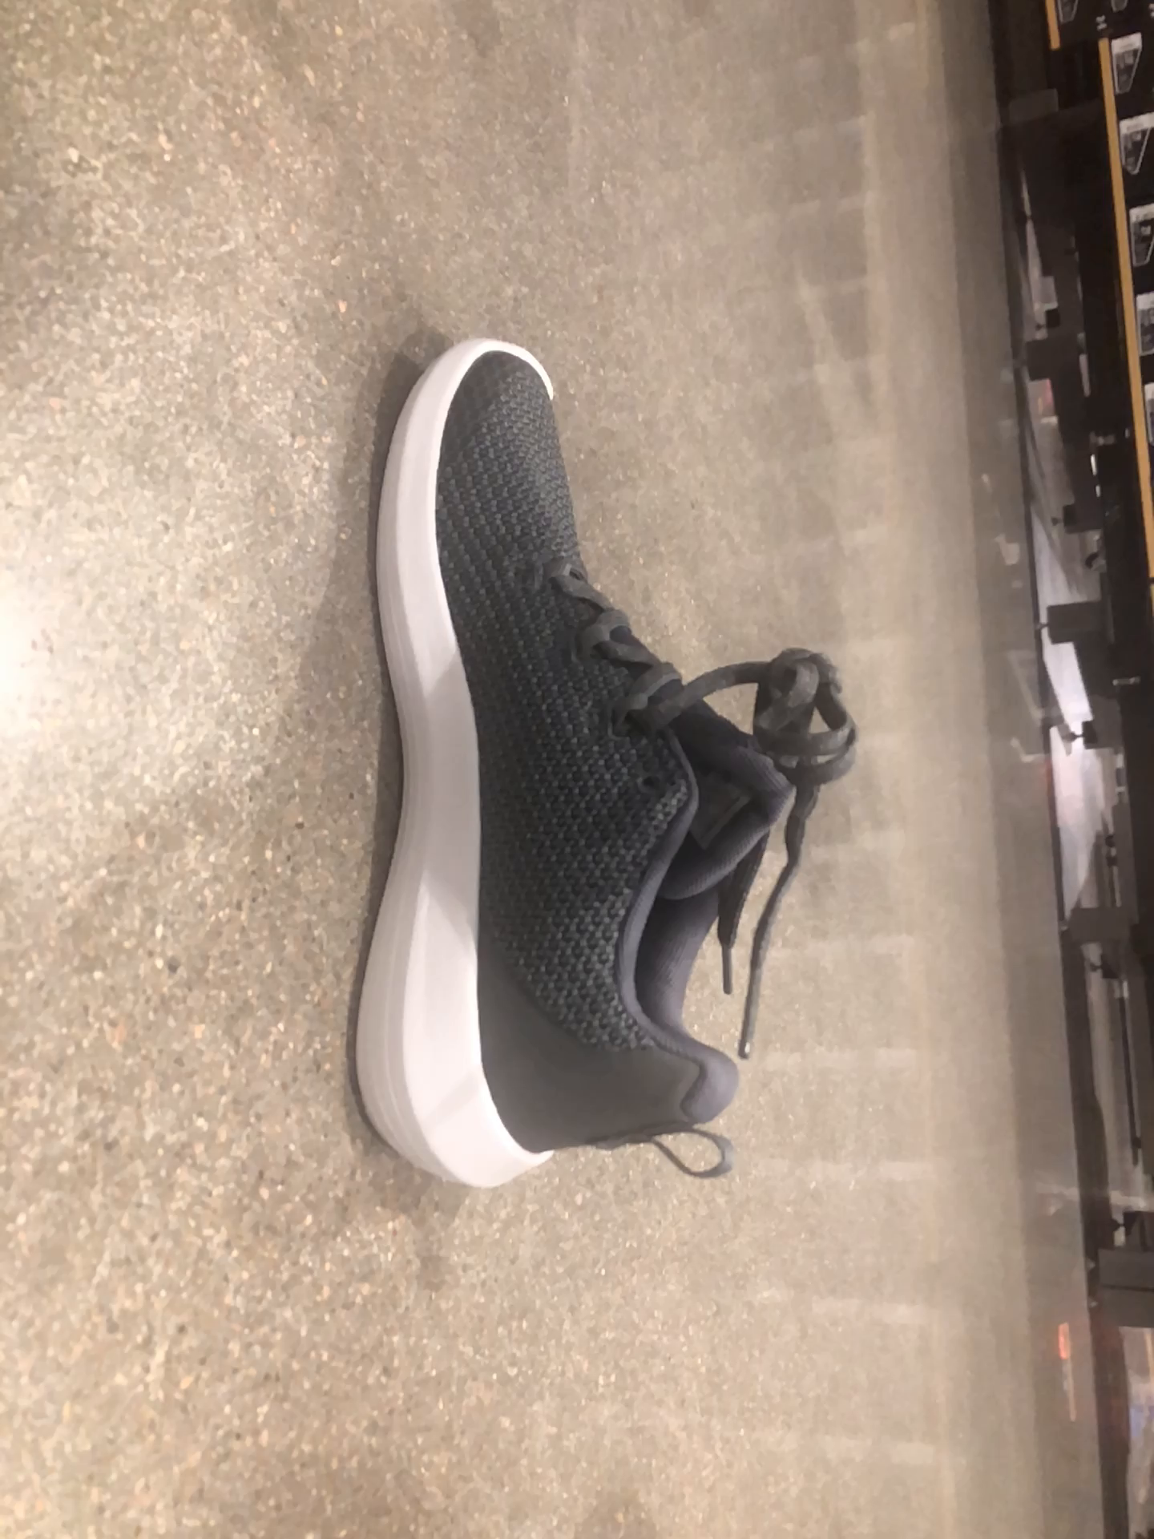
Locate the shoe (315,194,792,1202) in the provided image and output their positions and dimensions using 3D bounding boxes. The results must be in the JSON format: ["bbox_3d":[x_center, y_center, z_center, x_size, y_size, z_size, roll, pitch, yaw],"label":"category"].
[{"bbox_3d":[0.006,-0.013,0.379,0.116,0.084,0.265,35,54,-59],"label":"shoe"}]
